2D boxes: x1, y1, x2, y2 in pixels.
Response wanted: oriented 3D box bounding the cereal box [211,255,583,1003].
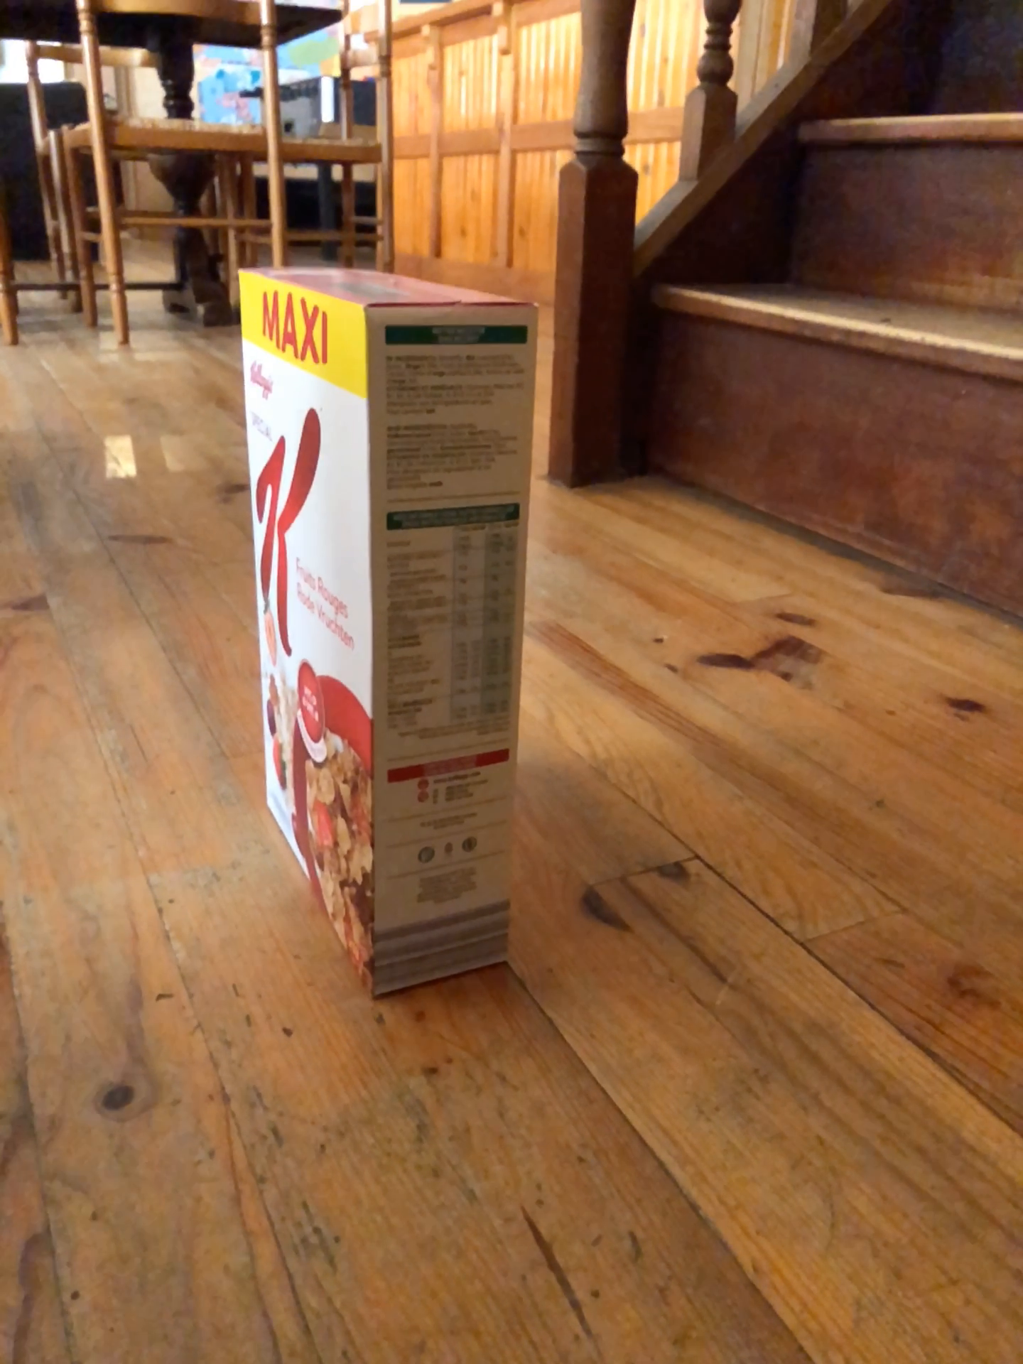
[{"bbox_3d":[-0.065,-0.041,0.530,0.090,0.288,0.210,-9,25,-24],"label":"cereal box"}]
